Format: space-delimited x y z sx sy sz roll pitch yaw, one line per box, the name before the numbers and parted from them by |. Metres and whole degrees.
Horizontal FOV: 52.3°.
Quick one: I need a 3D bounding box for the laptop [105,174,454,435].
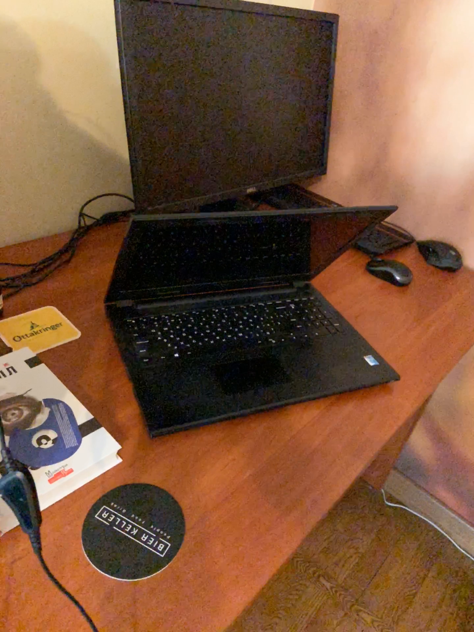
laptop | 0.037 -0.043 0.660 0.374 0.202 0.247 -7 40 -26
